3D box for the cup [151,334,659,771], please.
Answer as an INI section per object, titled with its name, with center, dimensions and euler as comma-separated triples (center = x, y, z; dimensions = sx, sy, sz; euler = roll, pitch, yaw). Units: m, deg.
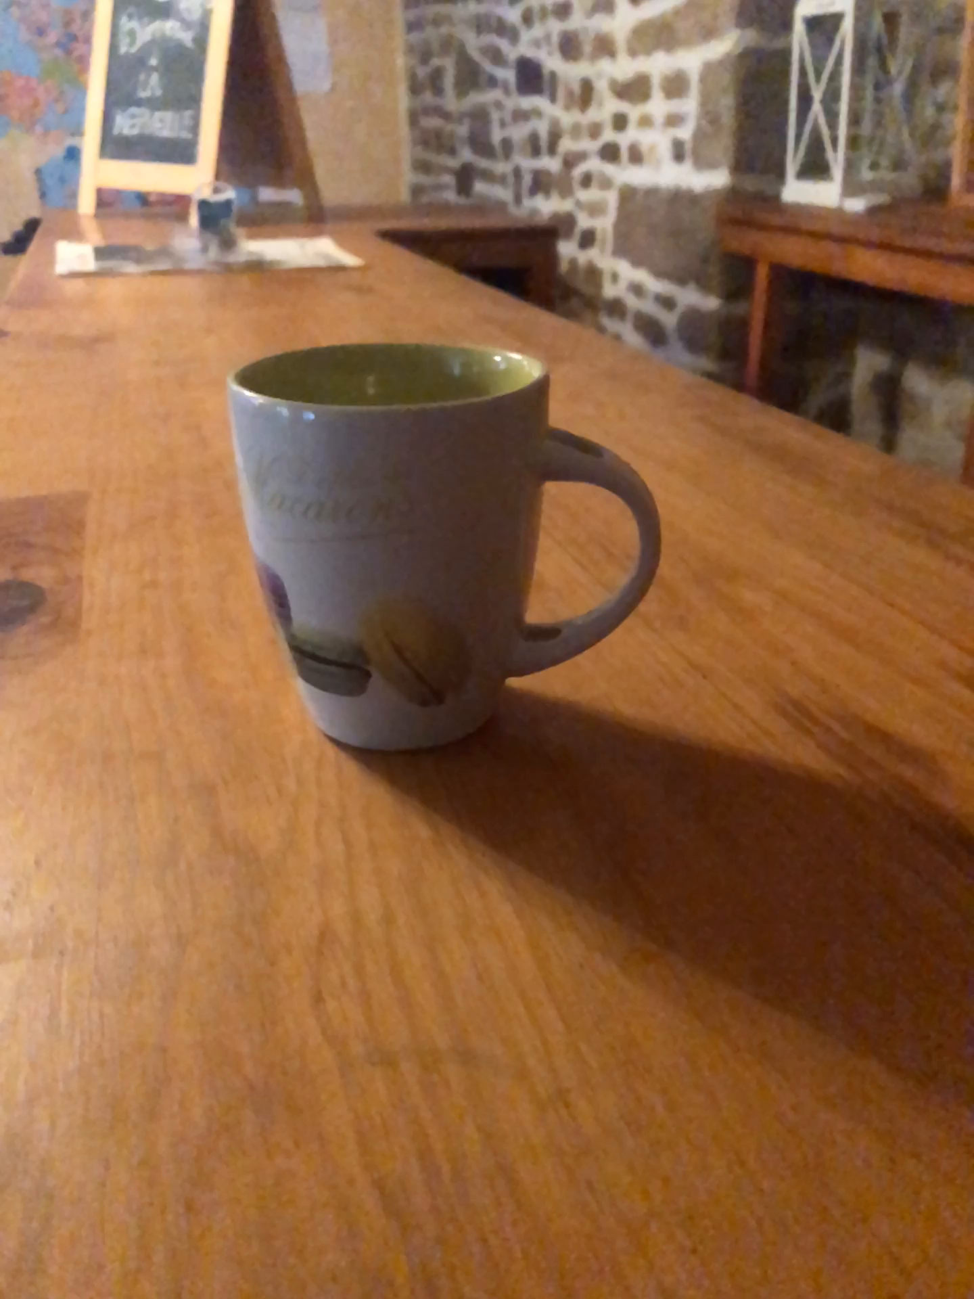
[cup]
center = -0.018, -0.034, 0.320
dimensions = 0.120, 0.099, 0.098
euler = 1, 26, 1
